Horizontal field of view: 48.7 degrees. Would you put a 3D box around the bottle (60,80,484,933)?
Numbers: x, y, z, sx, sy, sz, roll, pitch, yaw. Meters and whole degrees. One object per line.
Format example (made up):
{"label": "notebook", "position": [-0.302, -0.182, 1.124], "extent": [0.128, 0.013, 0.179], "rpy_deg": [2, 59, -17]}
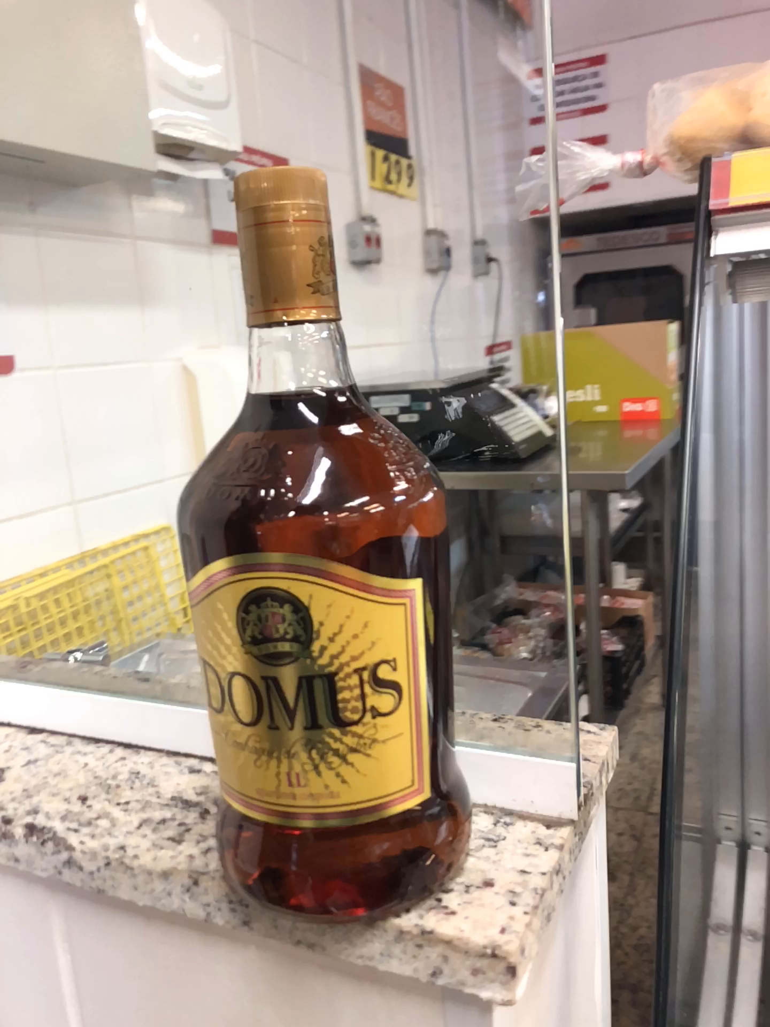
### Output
{"label": "bottle", "position": [-0.026, 0.000, 0.317], "extent": [0.100, 0.259, 0.110], "rpy_deg": [-3, 10, 11]}
